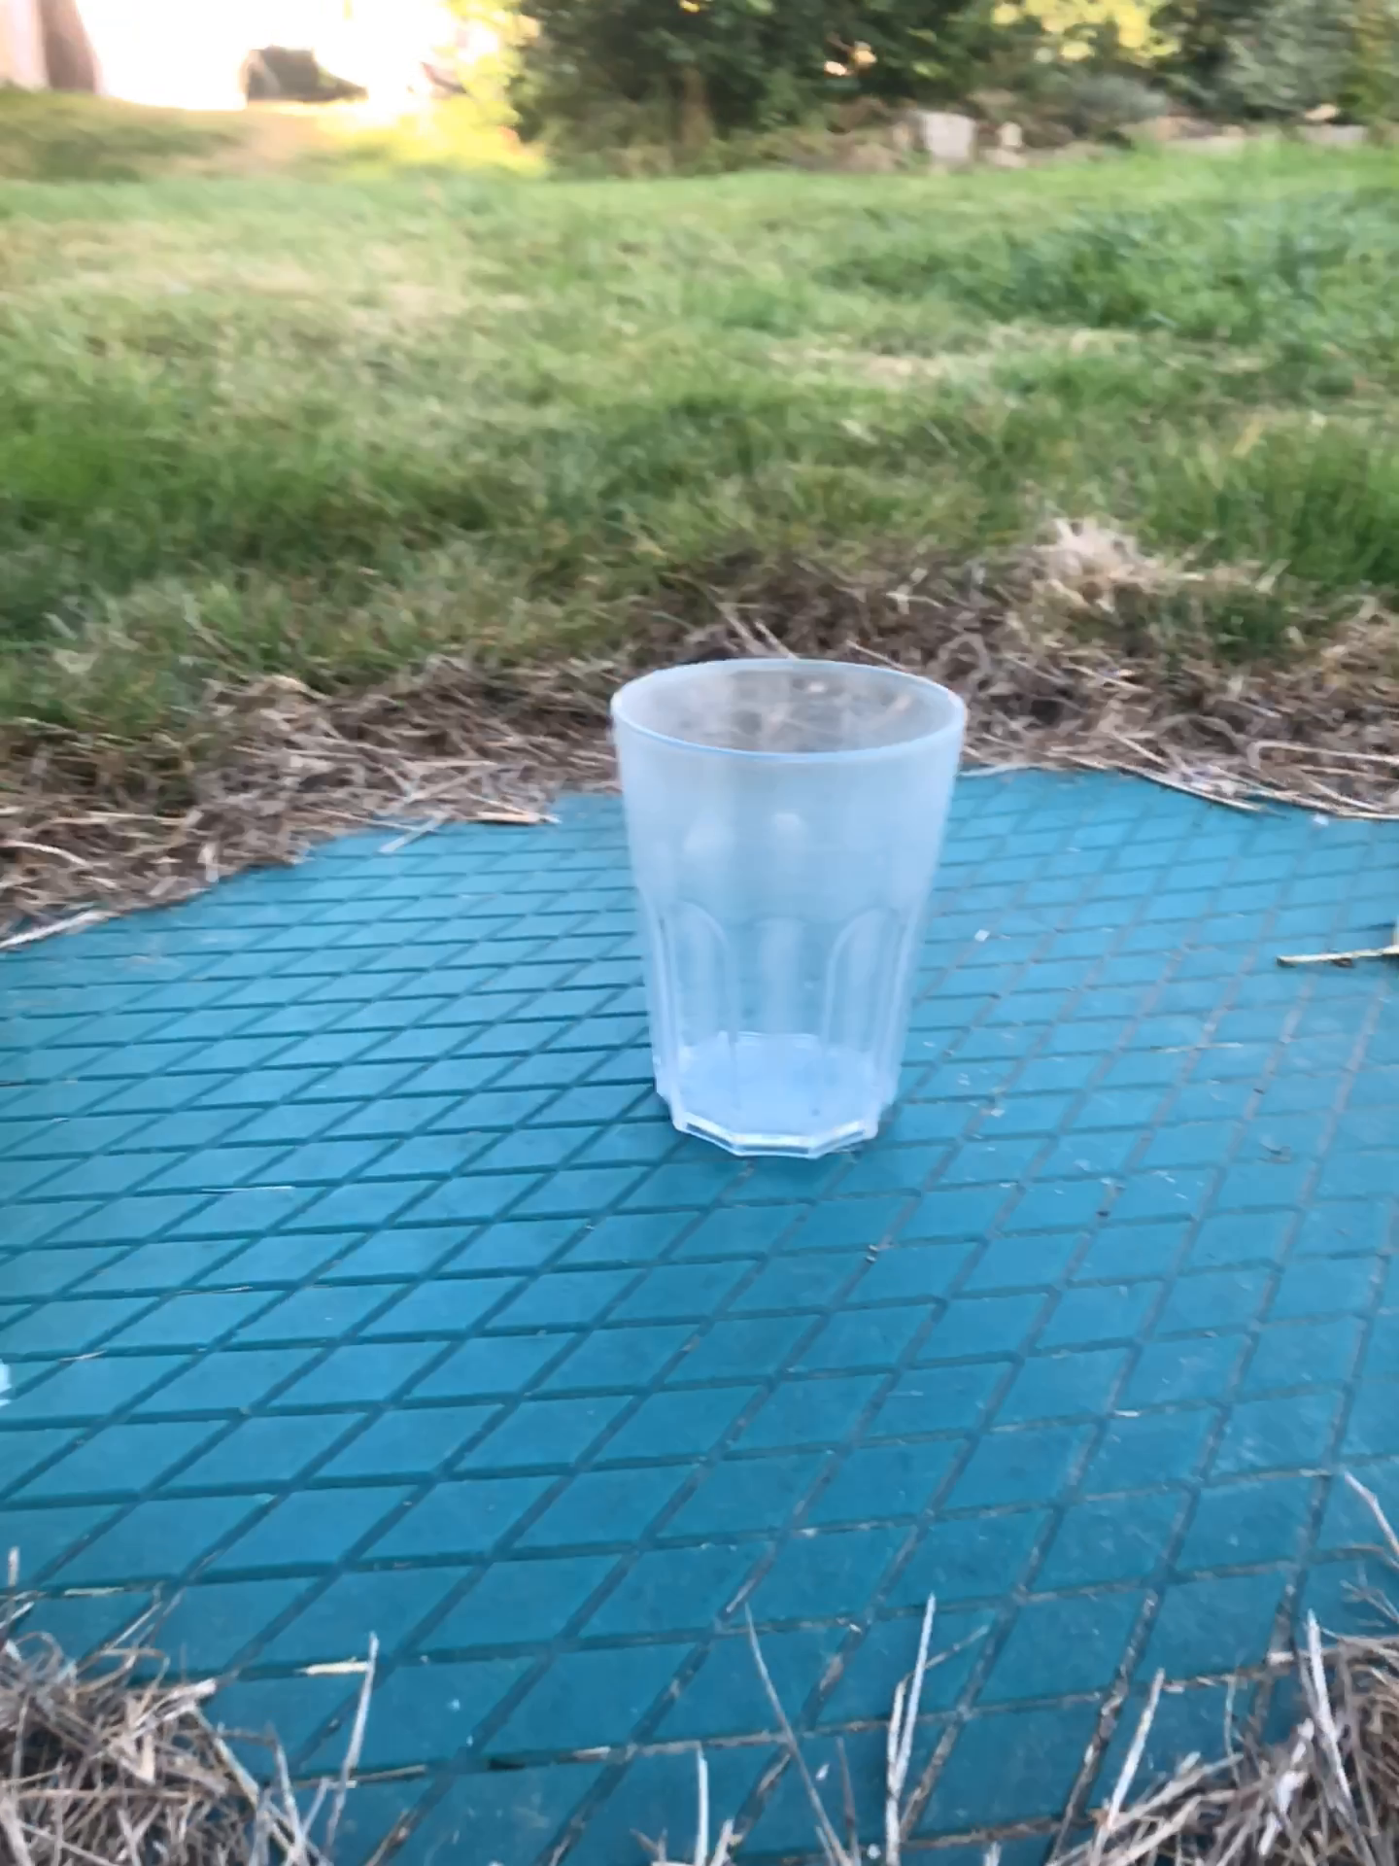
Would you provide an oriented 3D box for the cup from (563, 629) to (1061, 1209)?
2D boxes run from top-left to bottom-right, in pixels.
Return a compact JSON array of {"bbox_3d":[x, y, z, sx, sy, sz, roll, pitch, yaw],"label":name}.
[{"bbox_3d":[0.030,-0.010,0.405,0.091,0.113,0.088,0,23,0],"label":"cup"}]
